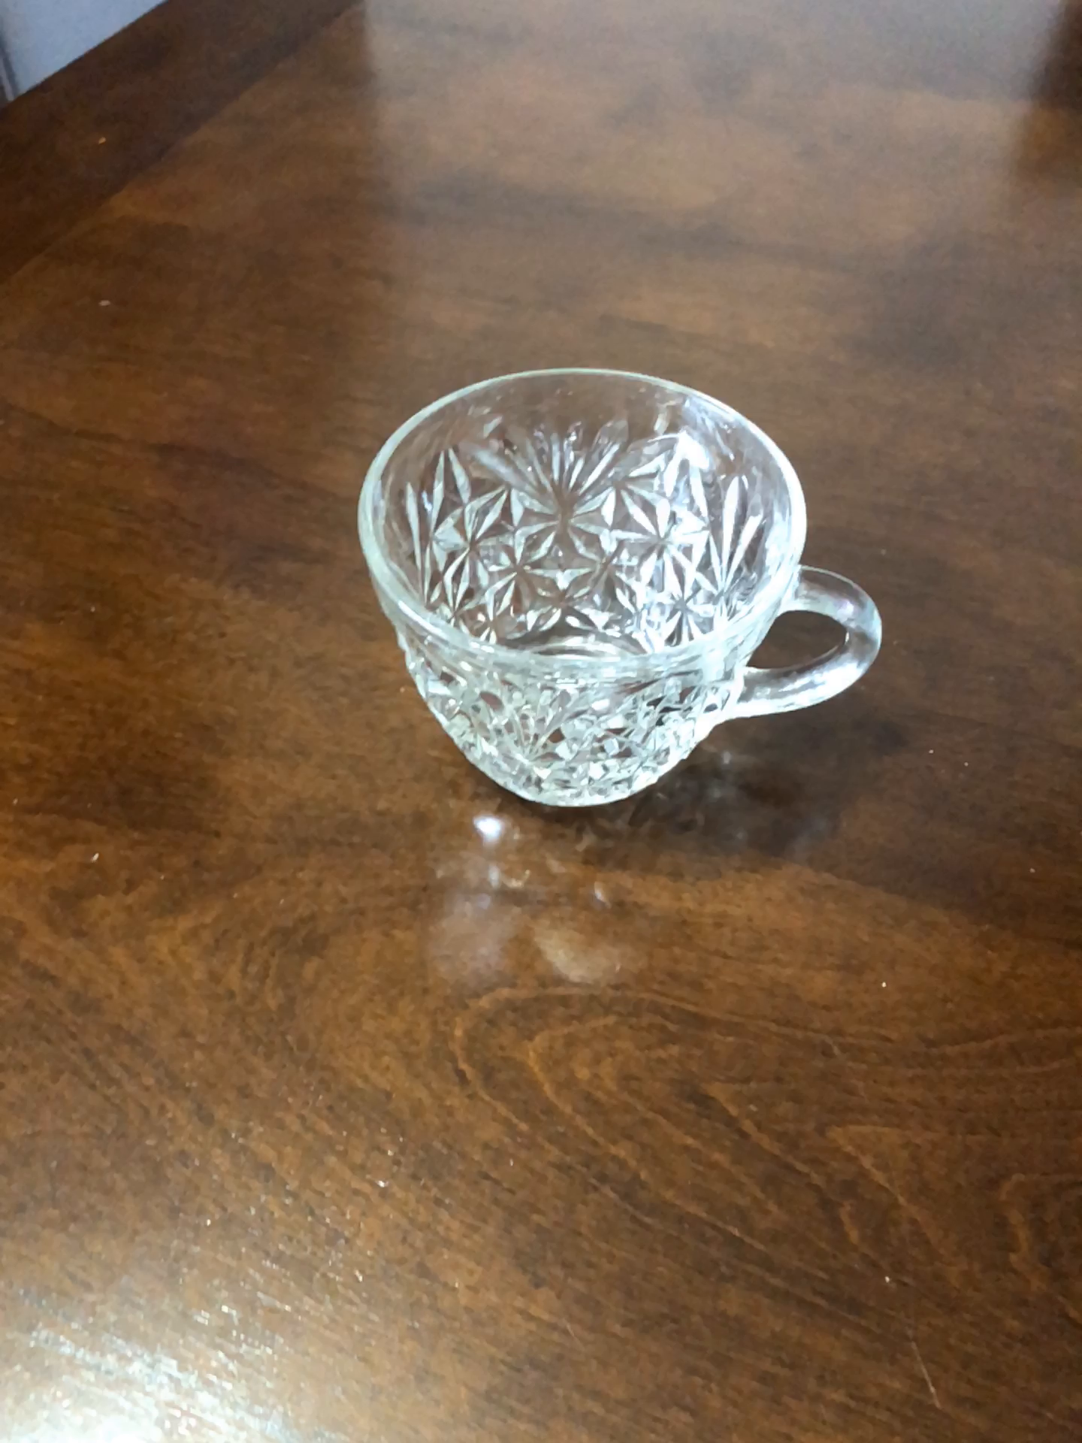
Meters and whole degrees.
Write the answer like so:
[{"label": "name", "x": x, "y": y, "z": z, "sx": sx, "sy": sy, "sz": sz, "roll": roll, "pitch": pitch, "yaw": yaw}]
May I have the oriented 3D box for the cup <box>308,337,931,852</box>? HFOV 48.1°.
[{"label": "cup", "x": 0.017, "y": -0.026, "z": 0.239, "sx": 0.100, "sy": 0.060, "sz": 0.070, "roll": 6, "pitch": 50, "yaw": 6}]
